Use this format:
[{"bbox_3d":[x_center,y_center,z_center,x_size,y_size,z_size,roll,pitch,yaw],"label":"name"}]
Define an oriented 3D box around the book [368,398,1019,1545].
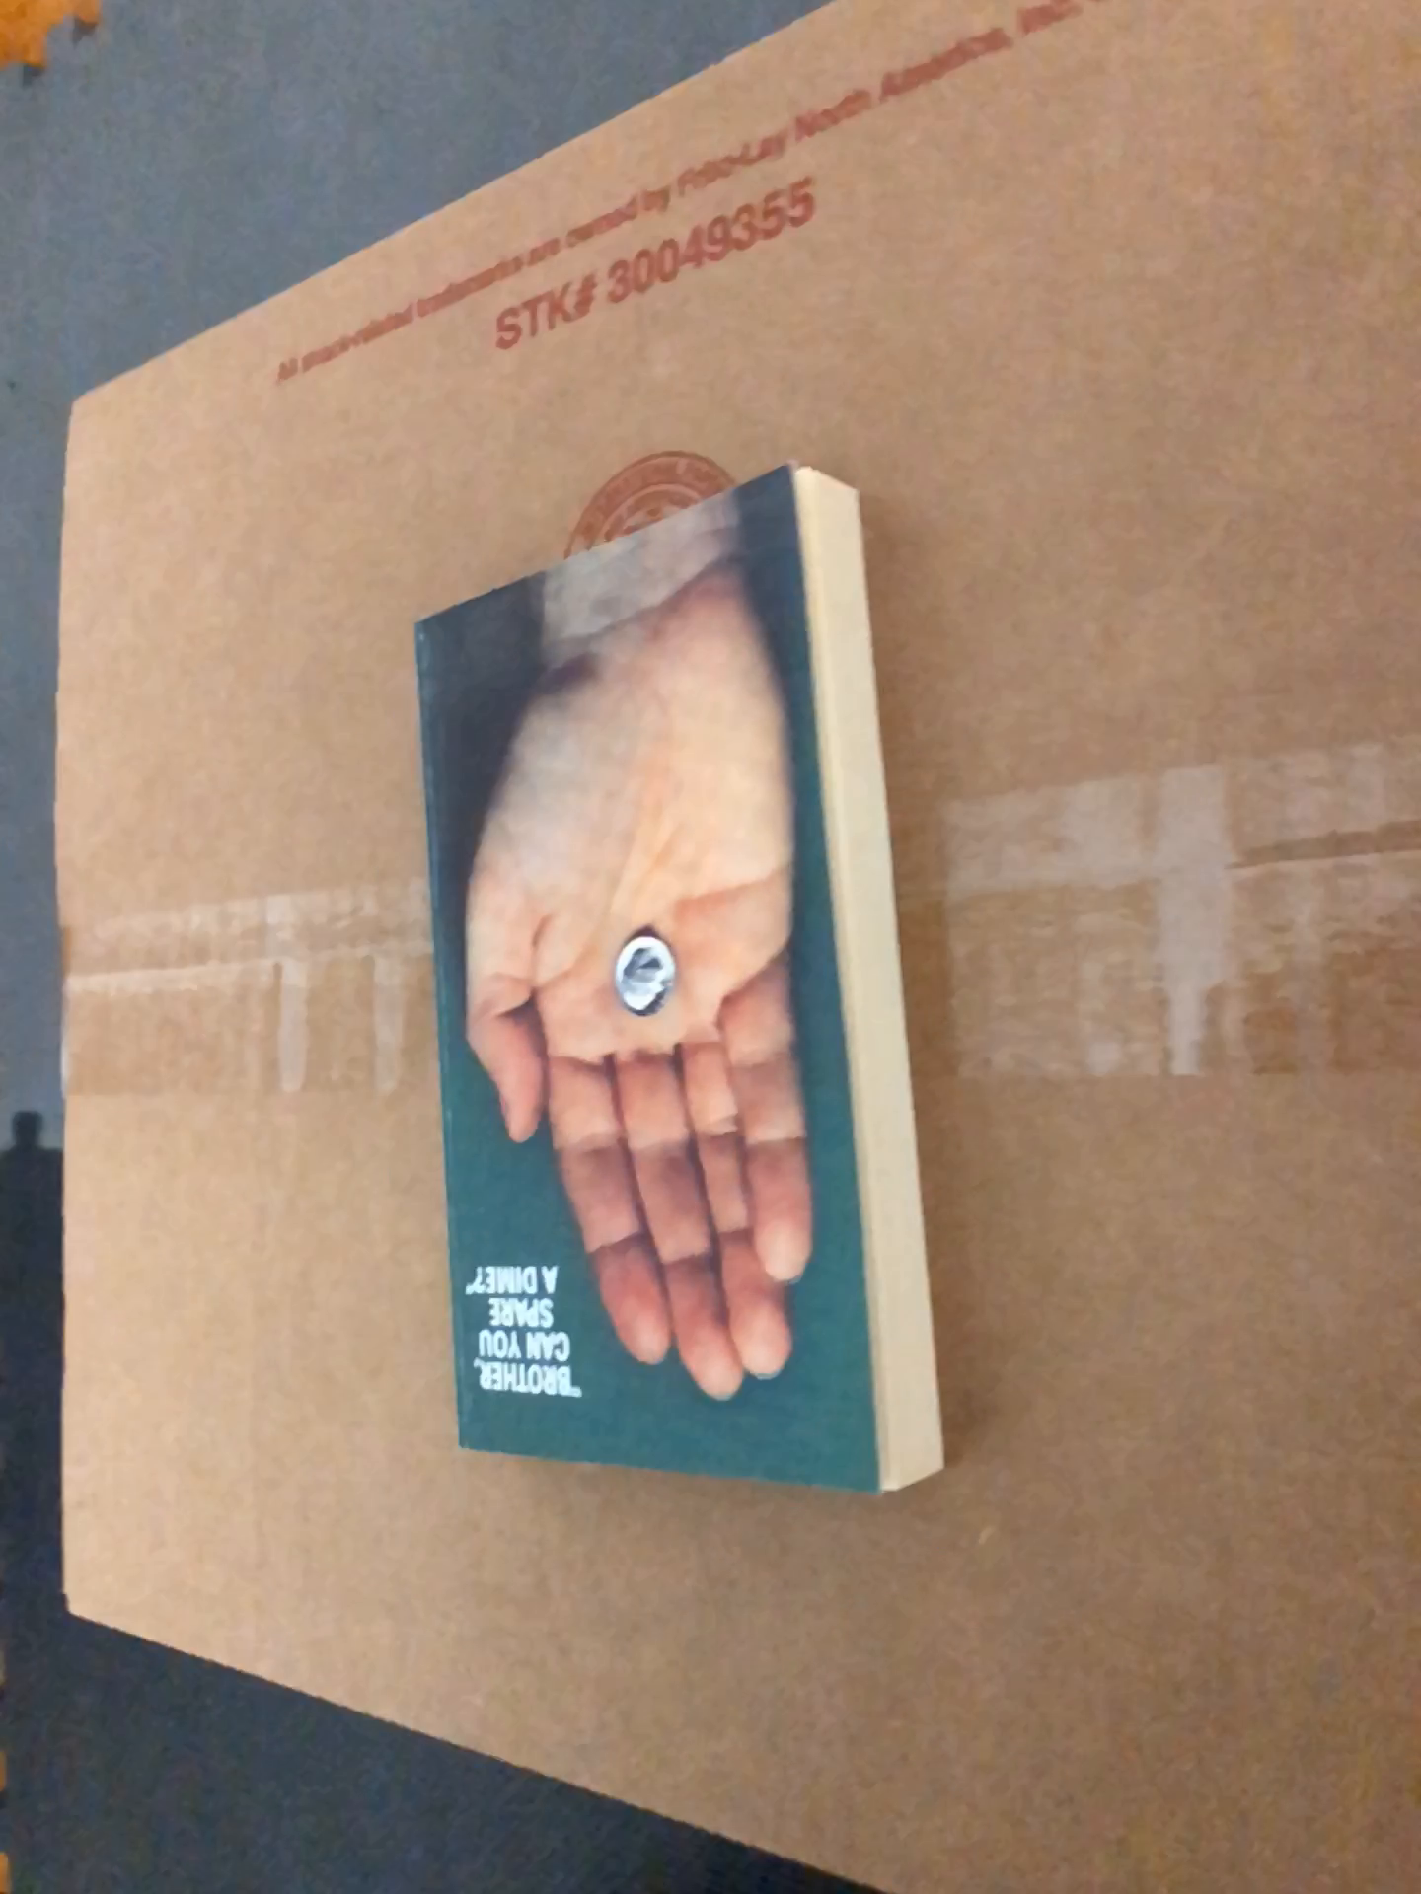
[{"bbox_3d":[-0.011,0.008,0.290,0.120,0.020,0.180,-9,82,38],"label":"book"}]
